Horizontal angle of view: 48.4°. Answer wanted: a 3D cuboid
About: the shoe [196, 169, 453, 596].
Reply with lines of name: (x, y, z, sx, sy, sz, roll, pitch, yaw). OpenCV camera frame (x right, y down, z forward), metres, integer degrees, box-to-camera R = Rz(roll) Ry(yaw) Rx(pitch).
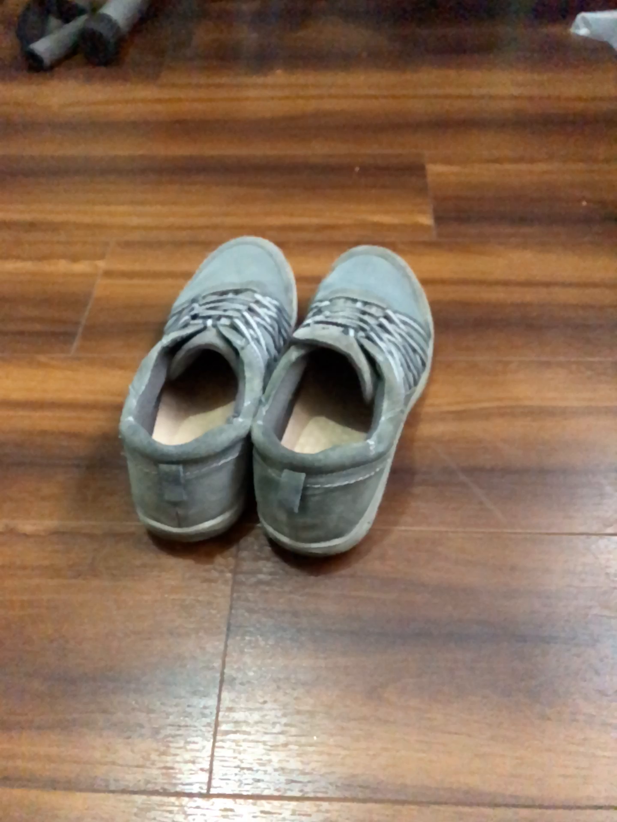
shoe: (0.026, -0.036, 0.471, 0.100, 0.109, 0.282, 9, 51, 10)

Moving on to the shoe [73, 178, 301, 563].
shoe: (-0.067, -0.044, 0.503, 0.100, 0.109, 0.282, 1, 50, 4)
